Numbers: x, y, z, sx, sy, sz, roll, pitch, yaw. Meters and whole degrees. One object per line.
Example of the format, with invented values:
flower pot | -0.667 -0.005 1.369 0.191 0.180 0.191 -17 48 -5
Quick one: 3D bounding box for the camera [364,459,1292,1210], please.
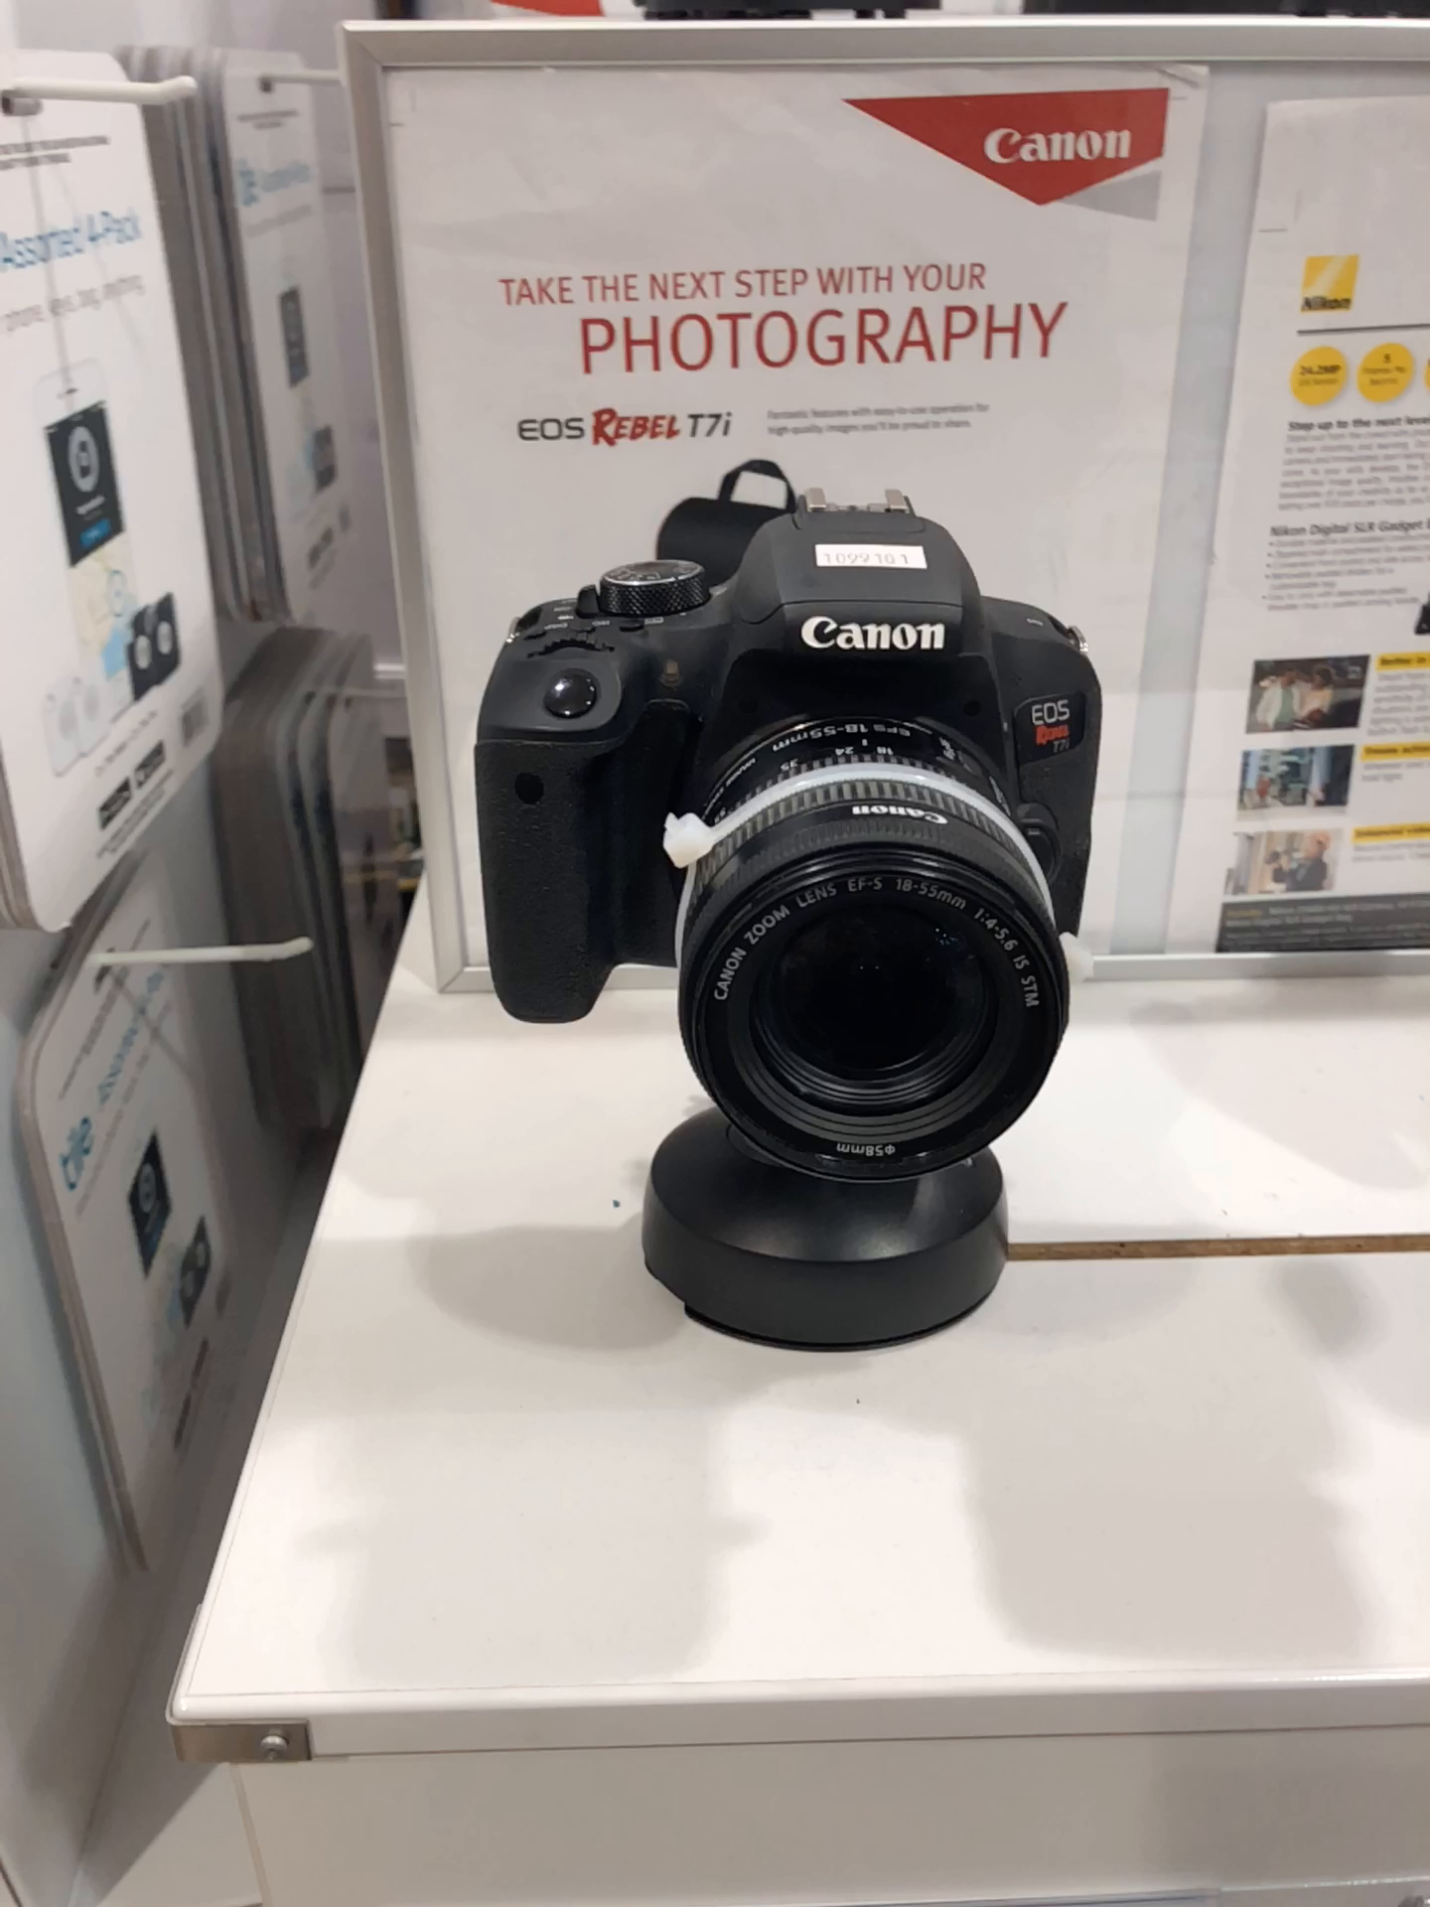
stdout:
camera | 0.017 -0.030 0.299 0.130 0.100 0.120 0 28 1
